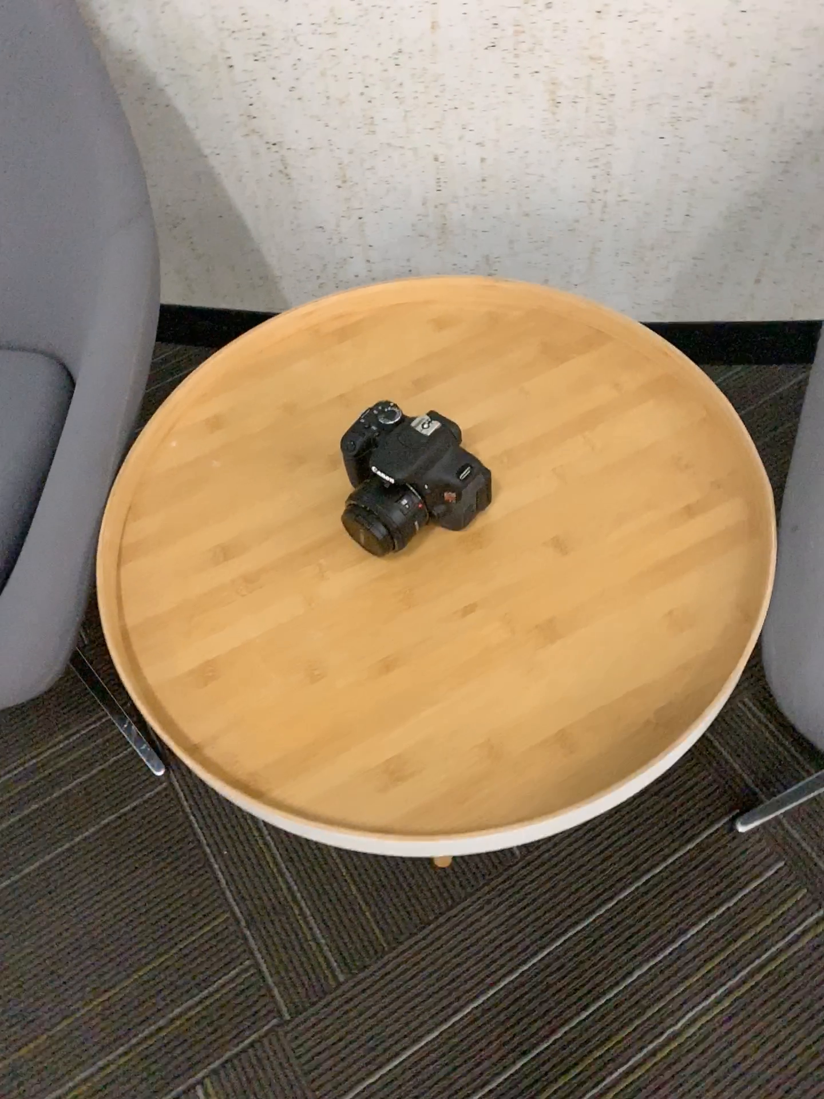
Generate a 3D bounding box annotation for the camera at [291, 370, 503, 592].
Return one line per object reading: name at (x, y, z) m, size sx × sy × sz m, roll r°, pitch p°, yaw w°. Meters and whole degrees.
camera at (-0.009, -0.062, 0.746) m, size 0.134 × 0.090 × 0.119 m, roll 35°, pitch 69°, yaw 23°
